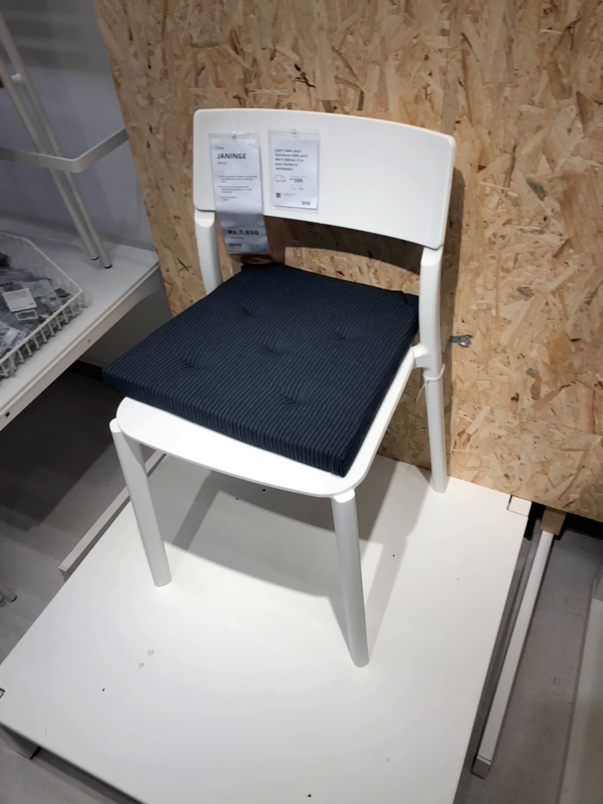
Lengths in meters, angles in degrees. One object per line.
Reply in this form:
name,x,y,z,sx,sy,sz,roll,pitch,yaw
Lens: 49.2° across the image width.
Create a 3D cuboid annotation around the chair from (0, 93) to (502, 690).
chair,-0.042,-0.015,1.010,0.491,0.685,0.462,15,47,20
